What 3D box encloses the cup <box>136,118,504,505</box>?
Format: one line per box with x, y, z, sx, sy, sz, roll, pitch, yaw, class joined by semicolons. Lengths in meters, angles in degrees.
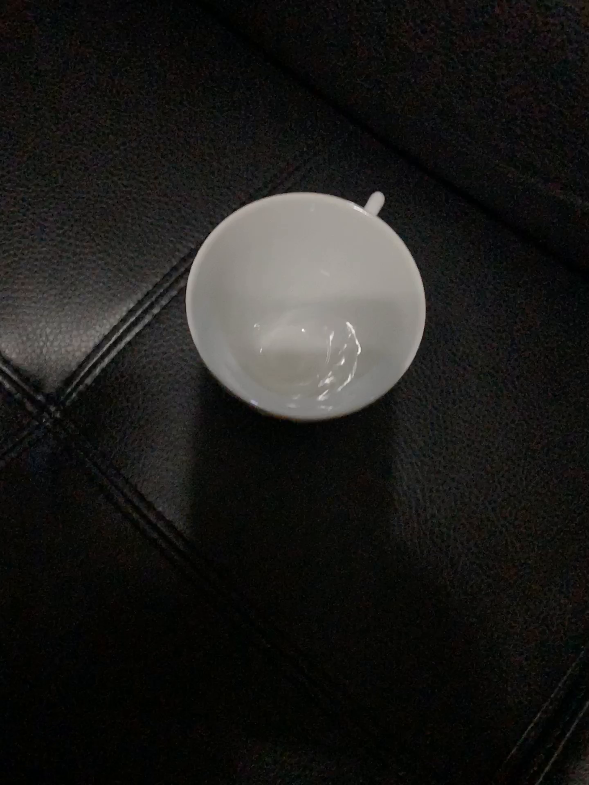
0.010;-0.030;0.249;0.093;0.059;0.114;29;73;1;cup
